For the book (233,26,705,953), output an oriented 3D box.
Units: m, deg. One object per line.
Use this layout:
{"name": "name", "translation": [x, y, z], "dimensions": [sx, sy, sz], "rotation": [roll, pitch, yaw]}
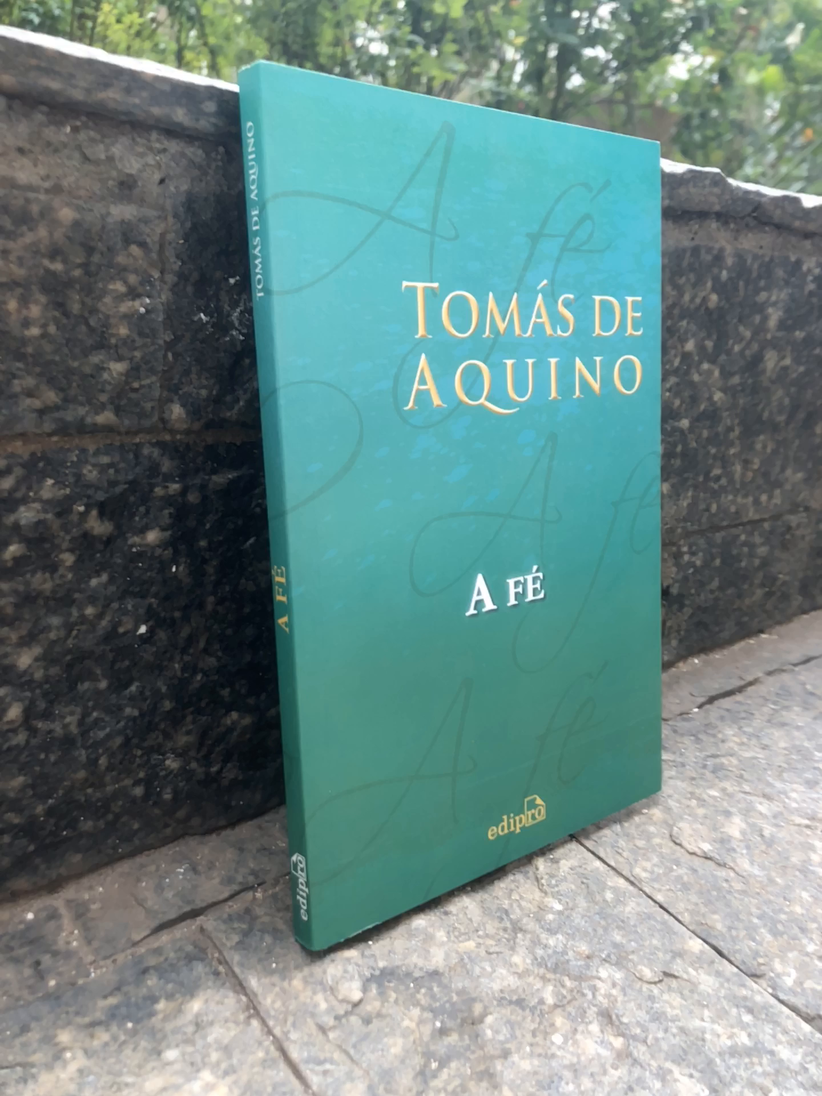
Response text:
{"name": "book", "translation": [0.026, -0.015, 0.248], "dimensions": [0.143, 0.199, 0.020], "rotation": [-8, 12, -38]}
